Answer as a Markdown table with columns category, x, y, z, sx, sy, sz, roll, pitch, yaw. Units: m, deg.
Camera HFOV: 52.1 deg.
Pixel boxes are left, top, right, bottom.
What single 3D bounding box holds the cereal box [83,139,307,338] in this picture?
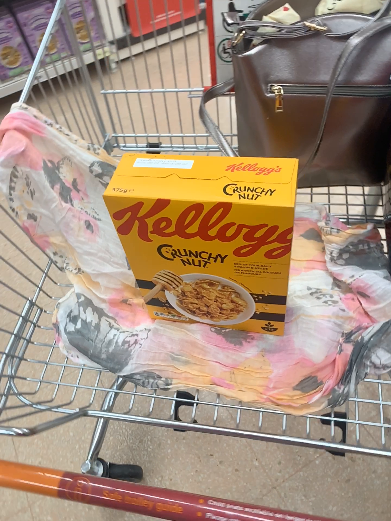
| category | x | y | z | sx | sy | sz | roll | pitch | yaw |
| --- | --- | --- | --- | --- | --- | --- | --- | --- | --- |
| cereal box | 0.015 | -0.013 | 0.492 | 0.210 | 0.258 | 0.081 | 5 | 52 | 12 |
